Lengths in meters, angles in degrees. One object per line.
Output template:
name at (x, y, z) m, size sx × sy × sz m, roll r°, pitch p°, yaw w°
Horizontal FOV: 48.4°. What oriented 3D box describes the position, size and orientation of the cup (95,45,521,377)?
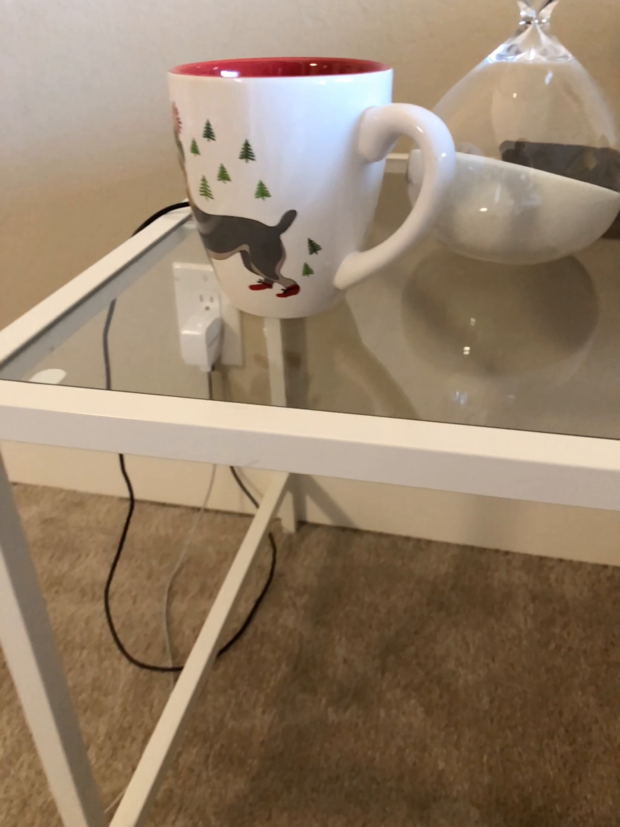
cup at (-0.002, -0.105, 0.319) m, size 0.150 × 0.109 × 0.100 m, roll 21°, pitch 37°, yaw 33°
